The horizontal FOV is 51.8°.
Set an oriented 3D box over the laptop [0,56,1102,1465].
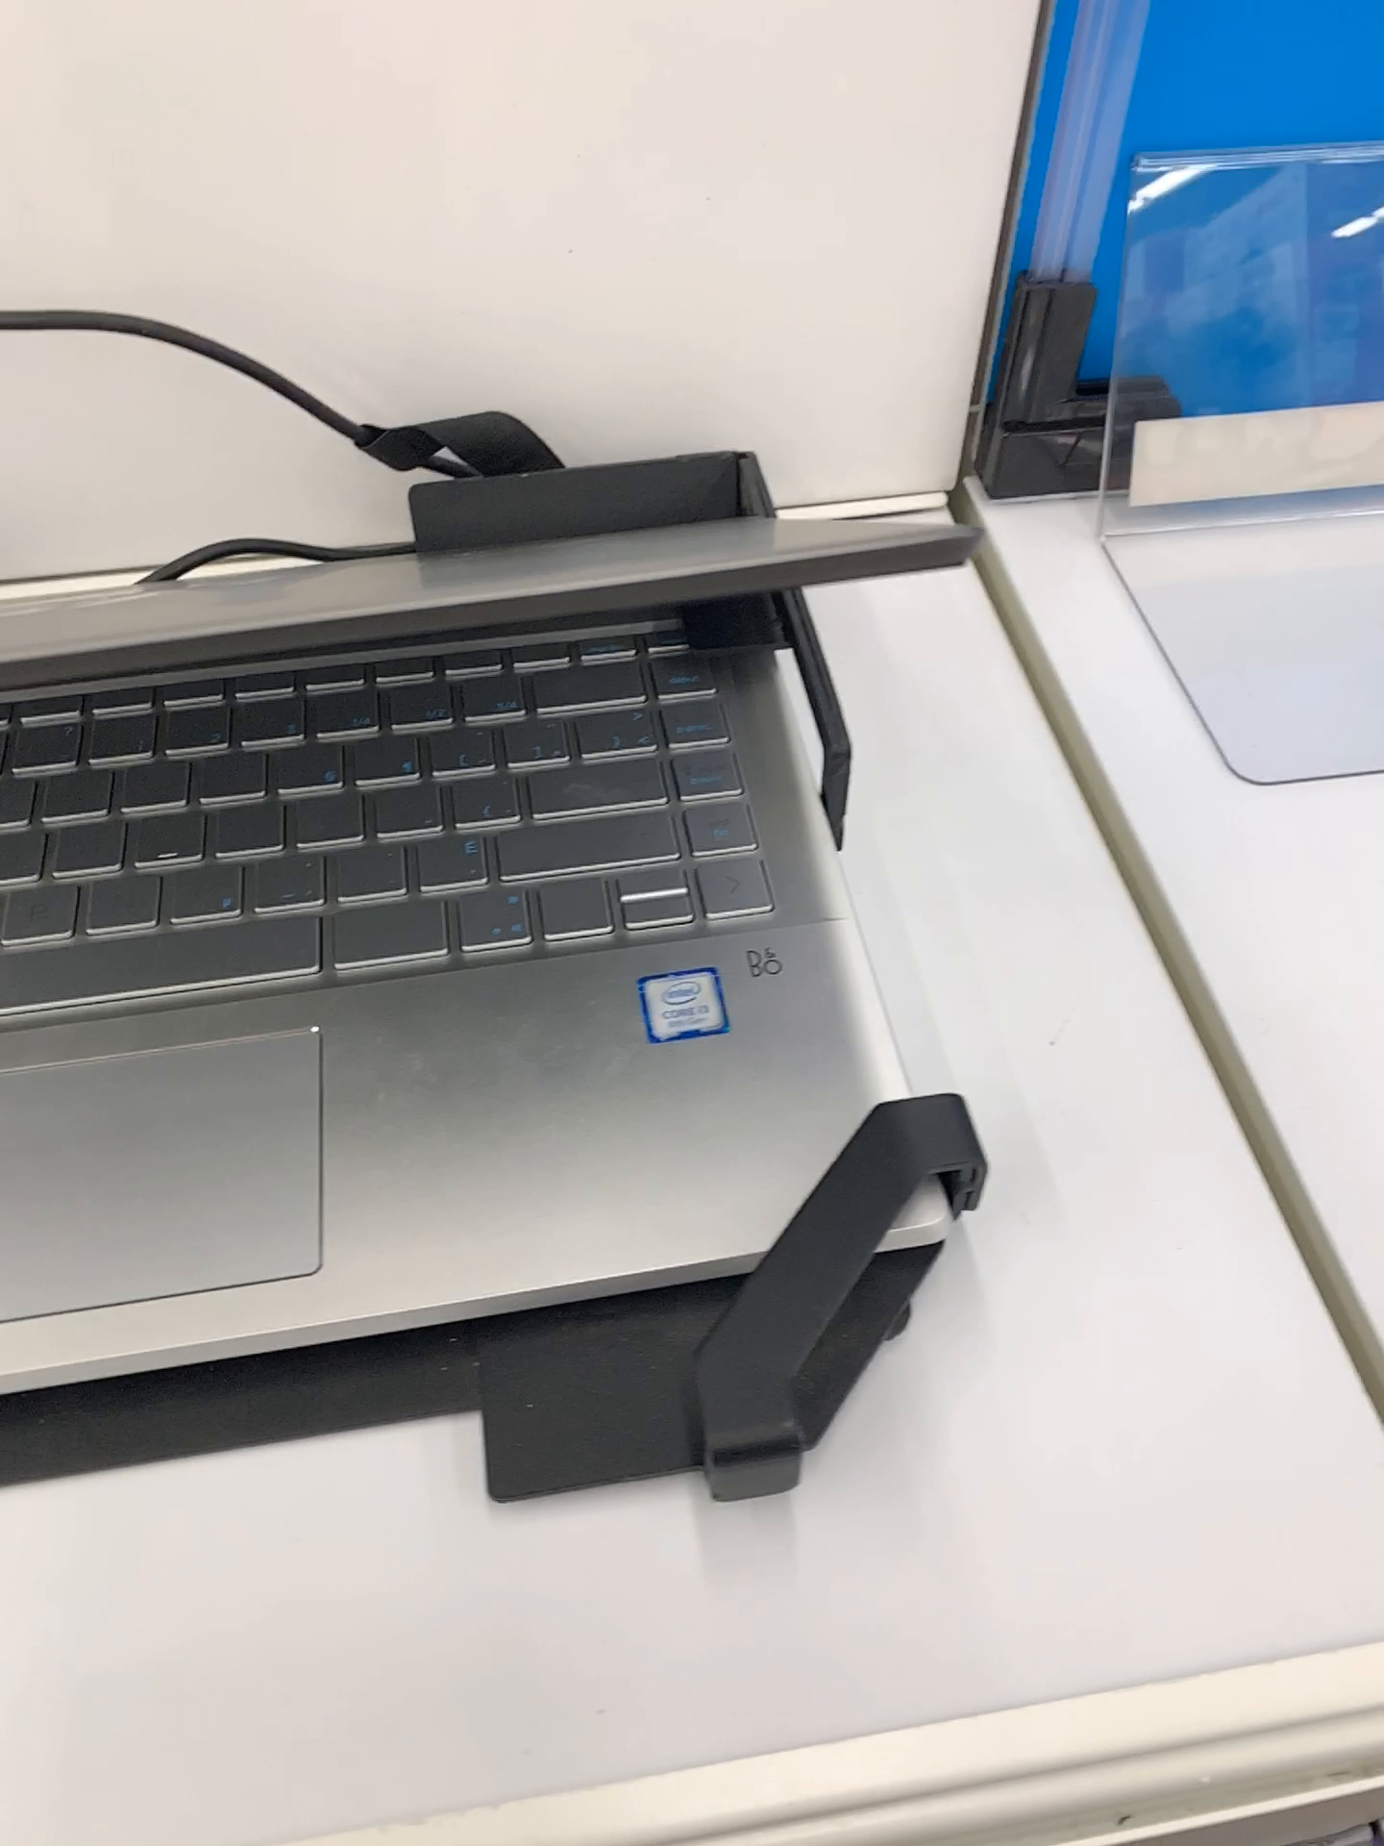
[{"bbox_3d":[-0.113,-0.040,0.252,0.283,0.111,0.194,-7,52,-3],"label":"laptop"}]
